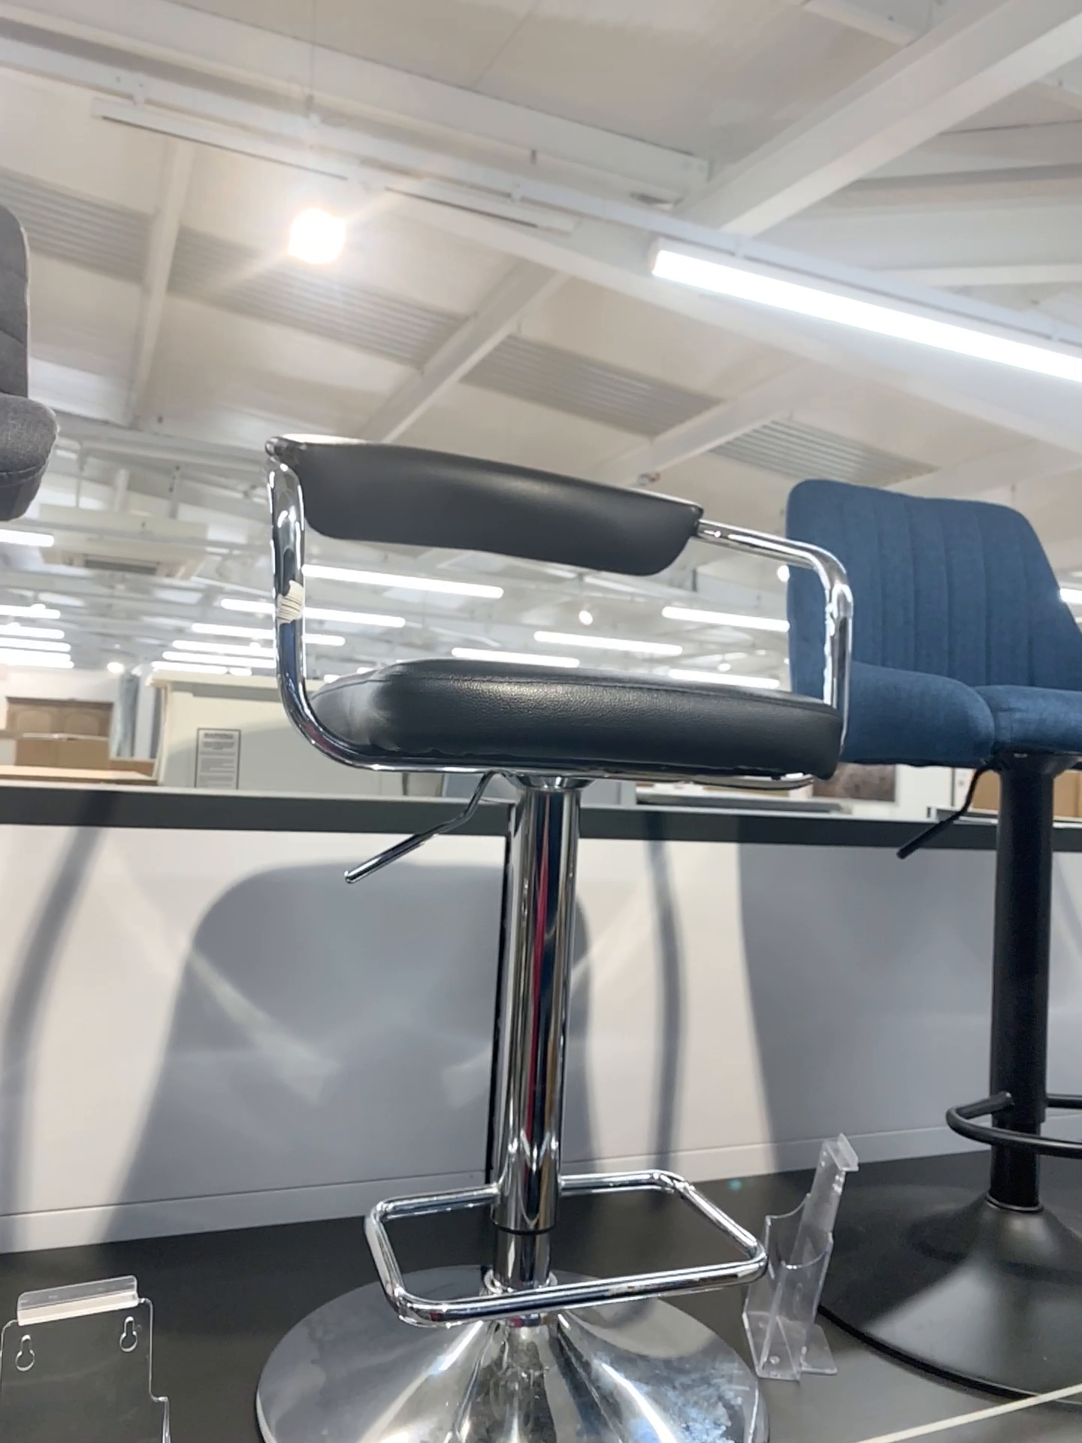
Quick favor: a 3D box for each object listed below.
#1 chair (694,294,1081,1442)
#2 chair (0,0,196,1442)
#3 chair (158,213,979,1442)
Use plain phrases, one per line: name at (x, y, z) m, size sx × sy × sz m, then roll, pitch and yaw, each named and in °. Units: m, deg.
chair at (0.559, 0.136, 1.254) m, size 0.521 × 0.955 × 0.536 m, roll 5°, pitch -3°, yaw -21°
chair at (-0.590, -0.001, 0.801) m, size 0.511 × 1.065 × 0.466 m, roll 5°, pitch -3°, yaw -26°
chair at (-0.003, 0.134, 0.975) m, size 0.511 × 0.854 × 0.466 m, roll 5°, pitch -3°, yaw -26°
